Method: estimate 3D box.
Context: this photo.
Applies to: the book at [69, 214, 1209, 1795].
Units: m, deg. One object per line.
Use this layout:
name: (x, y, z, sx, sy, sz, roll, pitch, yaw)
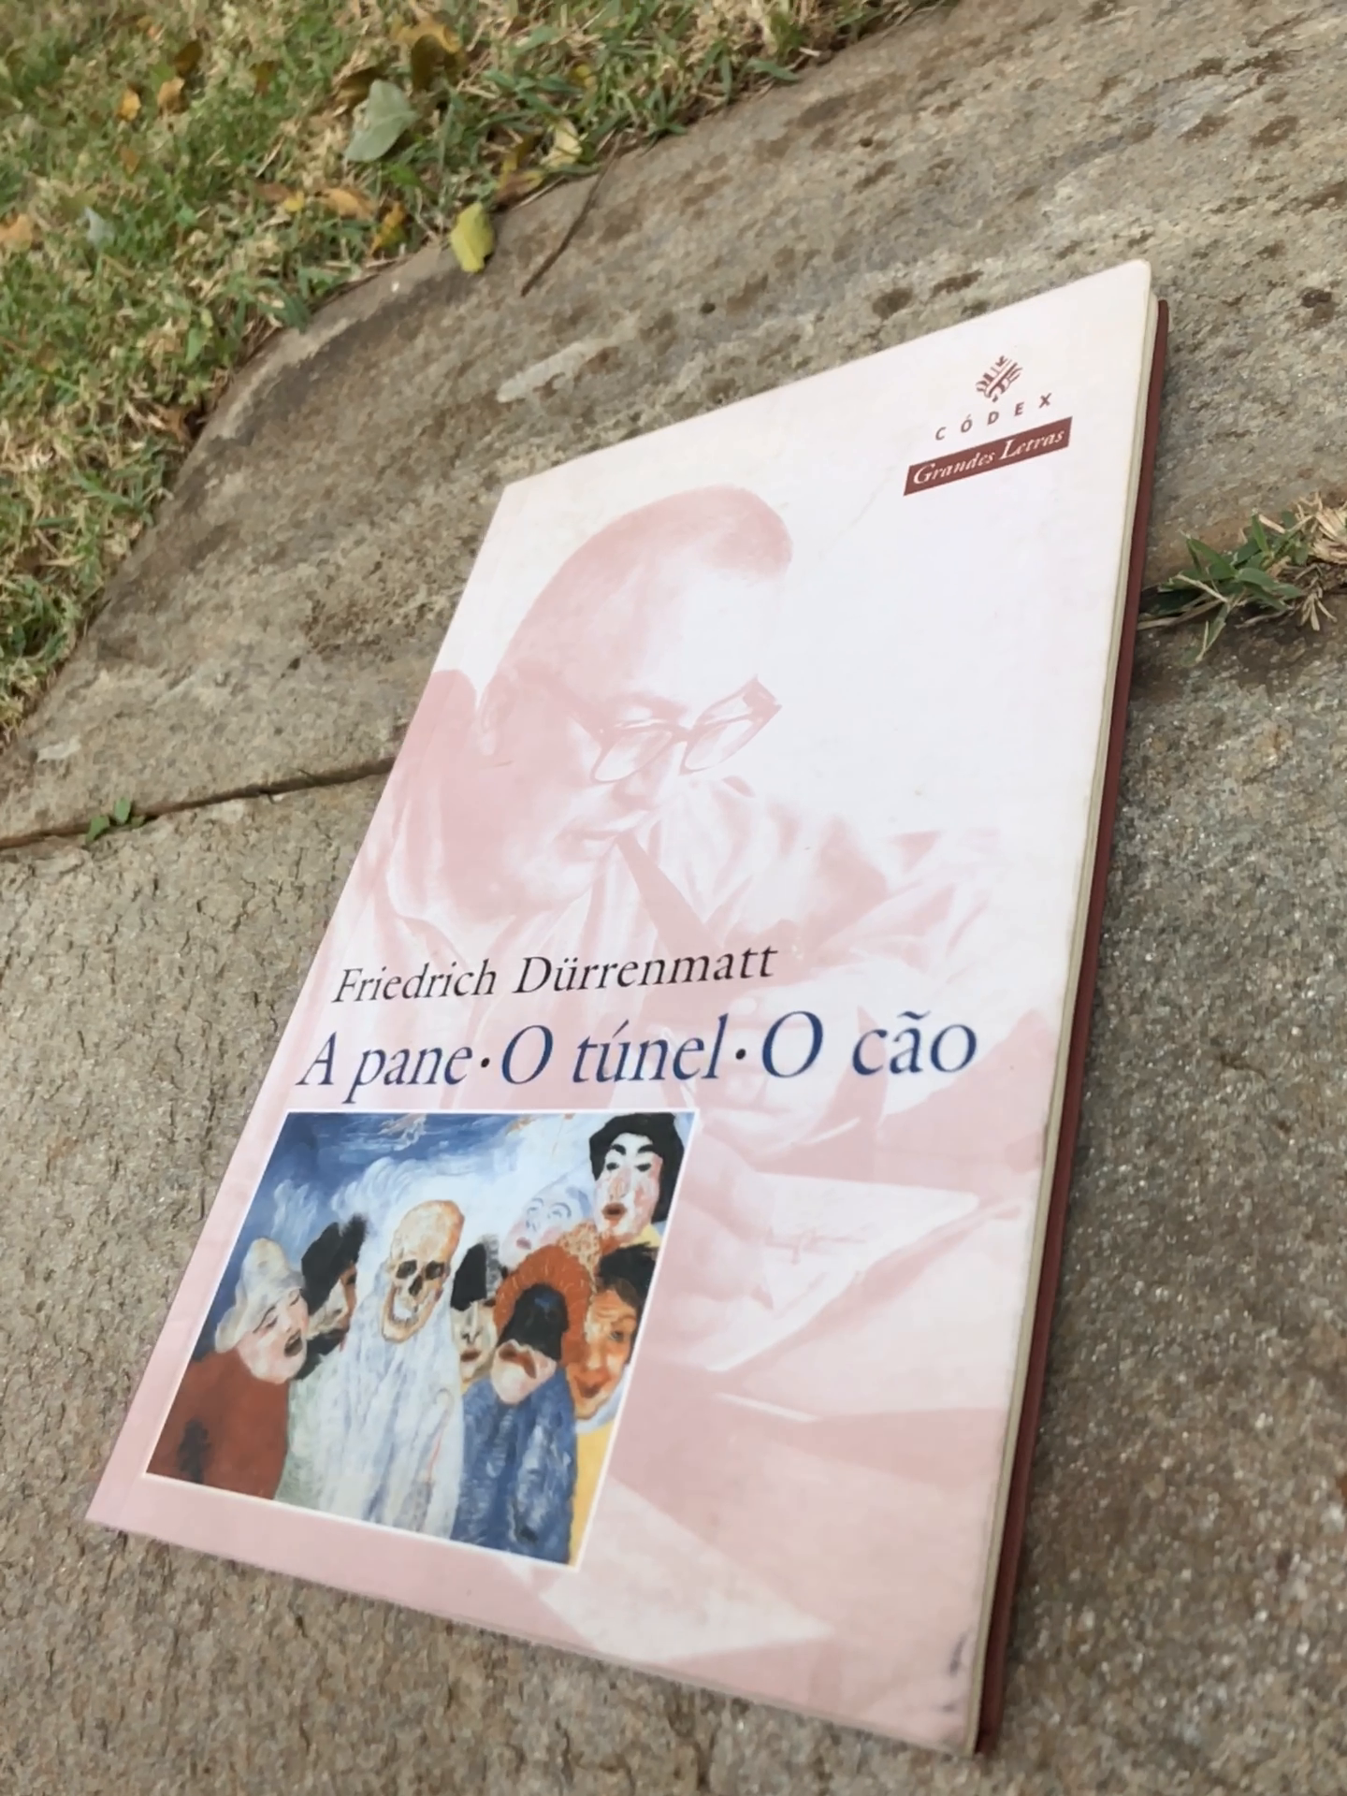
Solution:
book: (0.000, -0.003, 0.227, 0.138, 0.020, 0.211, -6, 56, 36)
